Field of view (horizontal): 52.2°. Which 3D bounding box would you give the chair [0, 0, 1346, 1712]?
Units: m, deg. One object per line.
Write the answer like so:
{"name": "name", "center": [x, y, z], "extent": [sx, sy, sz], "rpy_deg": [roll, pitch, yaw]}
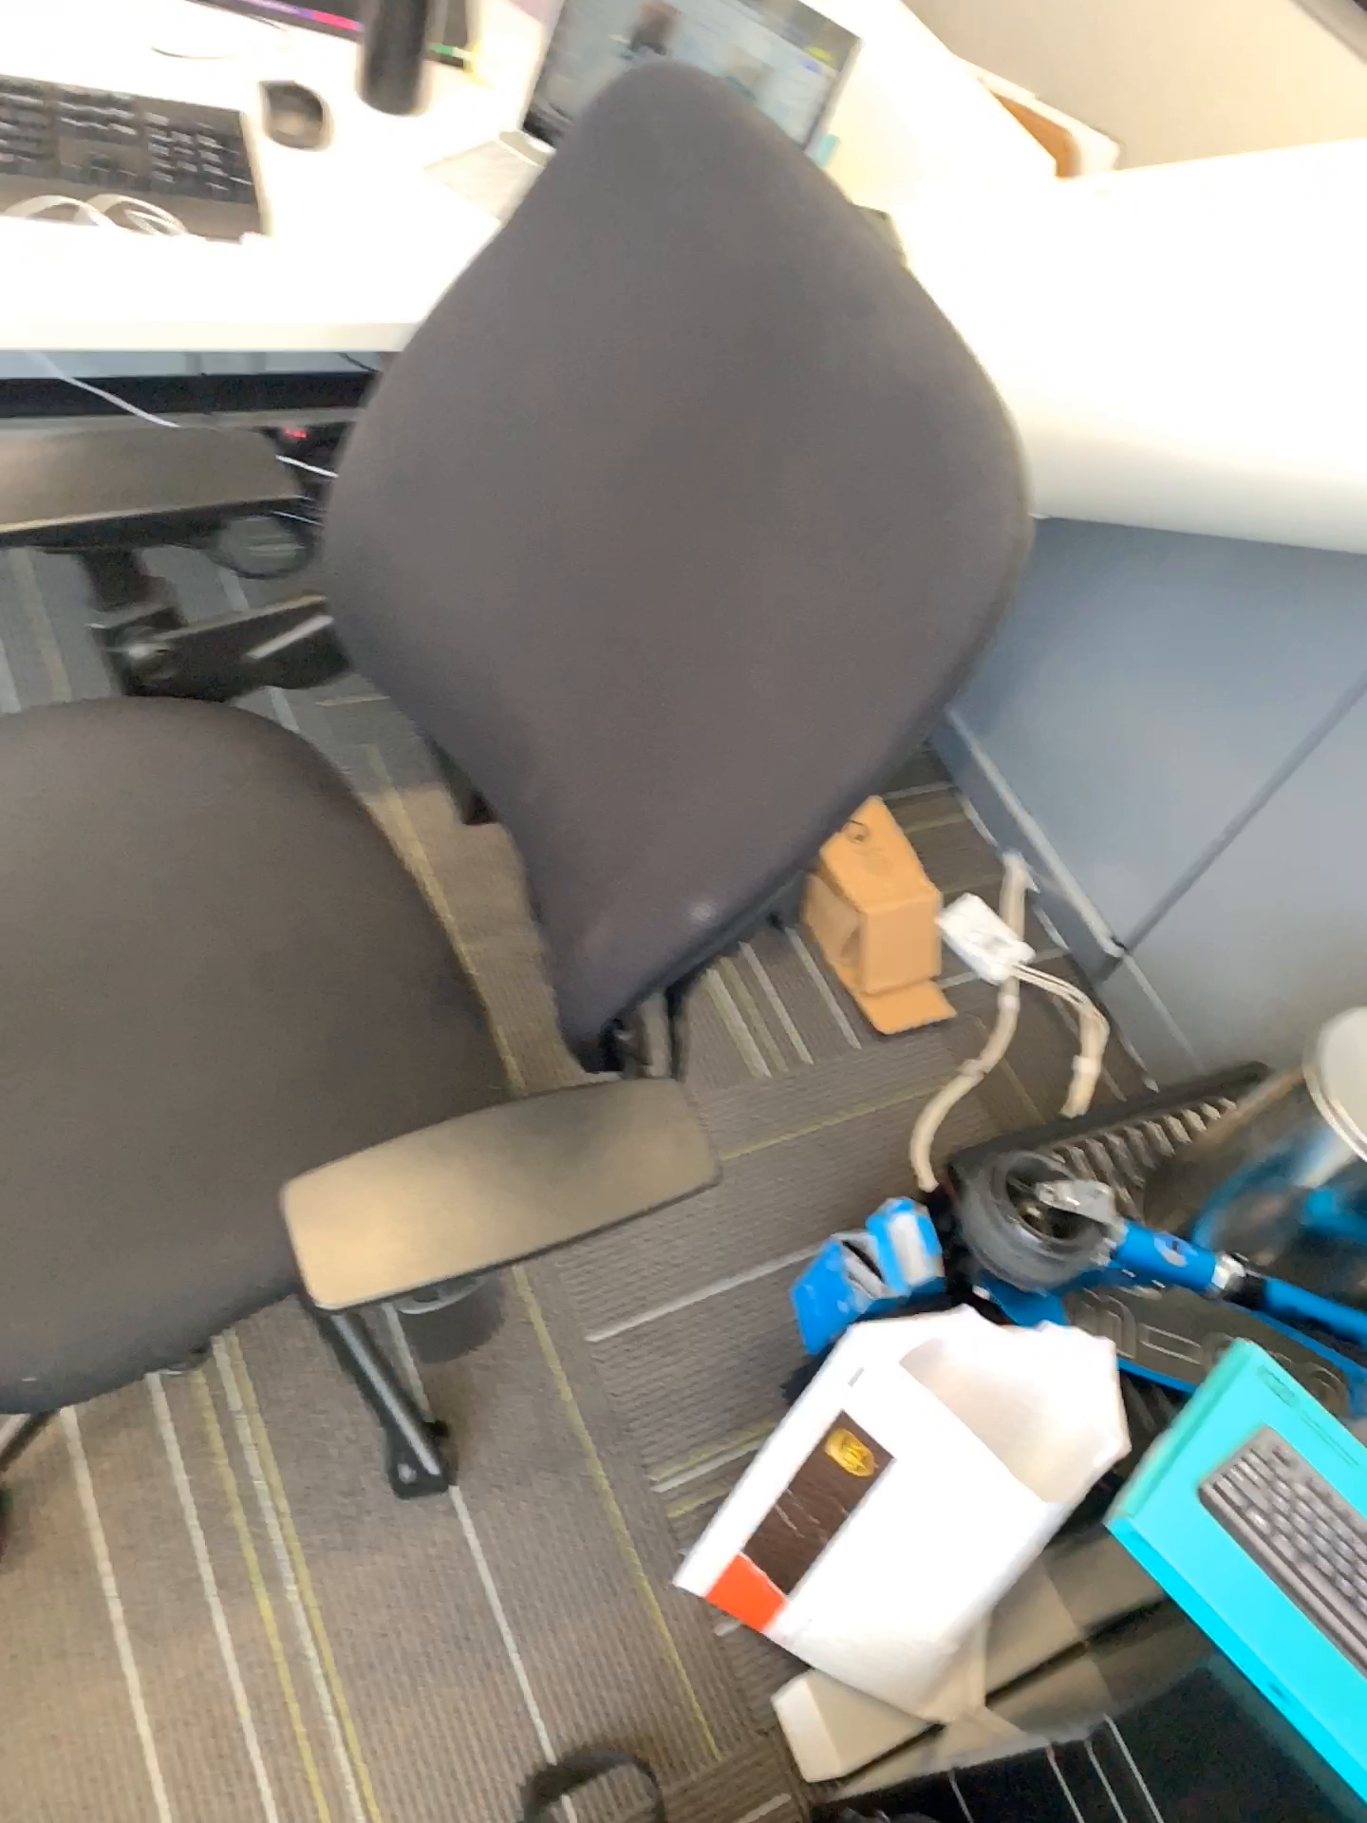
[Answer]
{"name": "chair", "center": [-0.292, 0.105, 1.127], "extent": [0.631, 1.364, 0.582], "rpy_deg": [-12, 60, -28]}
